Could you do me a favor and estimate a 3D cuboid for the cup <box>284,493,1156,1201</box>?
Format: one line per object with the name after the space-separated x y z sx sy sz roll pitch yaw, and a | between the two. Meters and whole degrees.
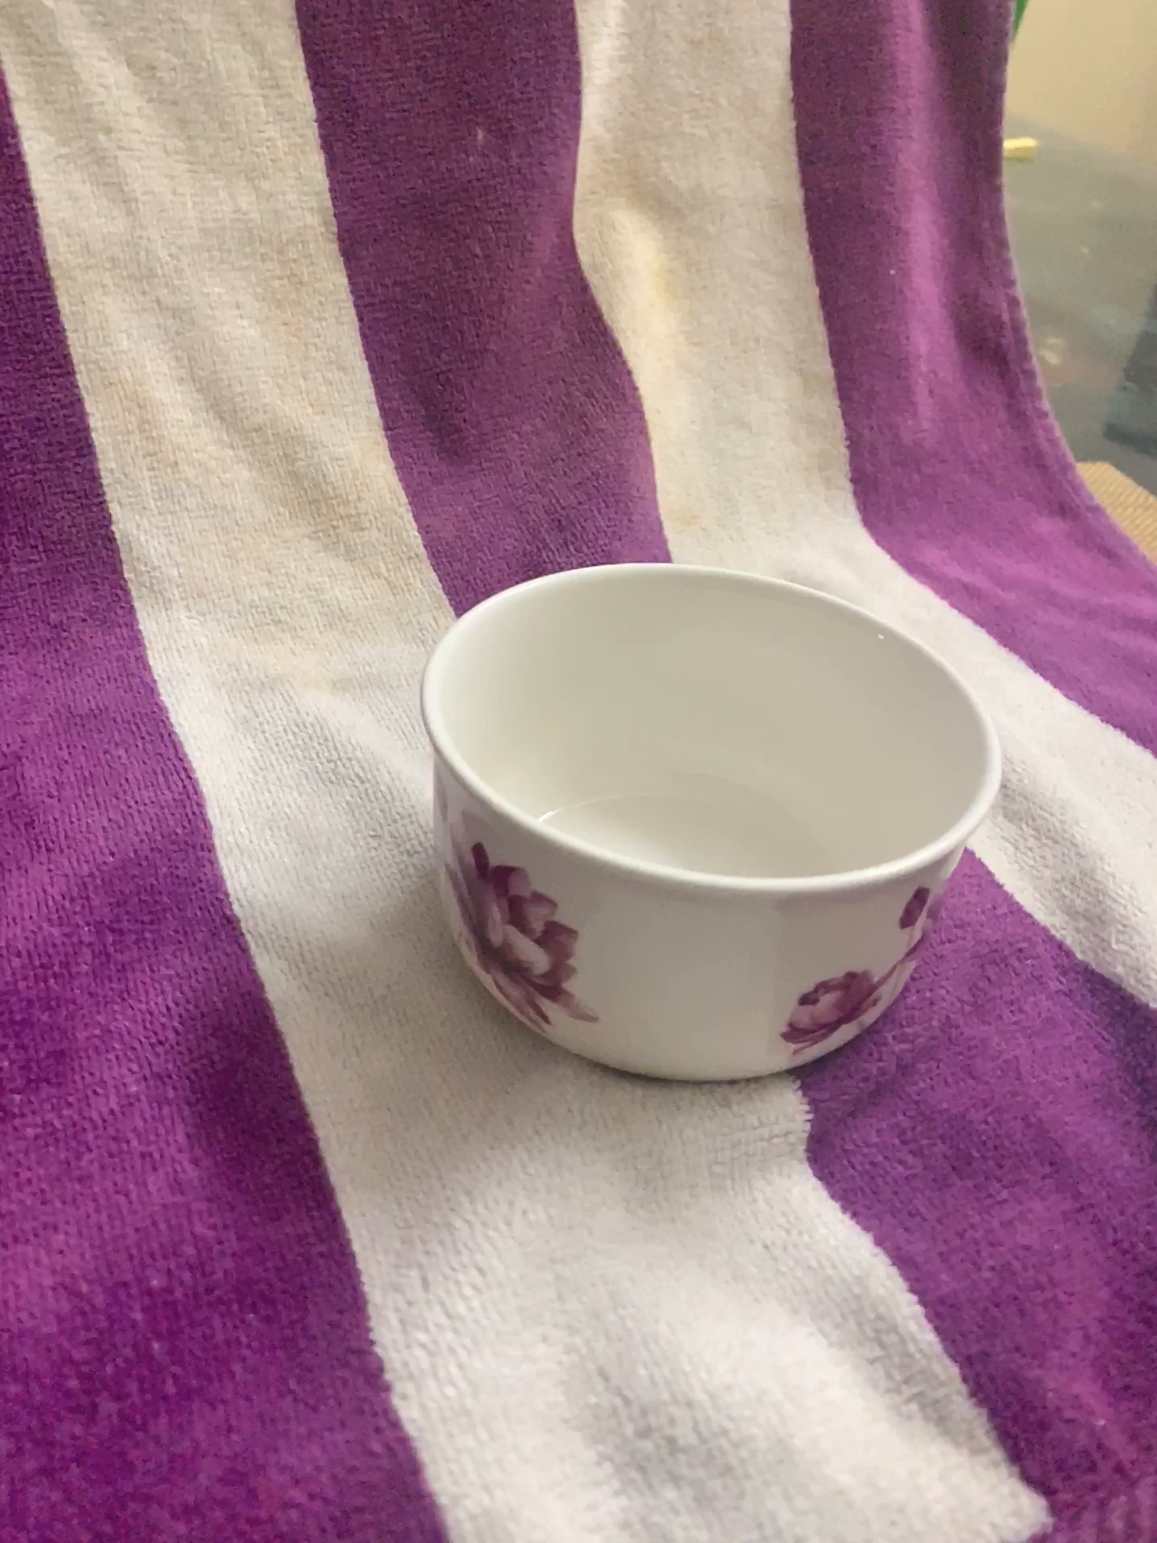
0.018 0.001 0.217 0.110 0.050 0.101 4 38 -3 | cup
